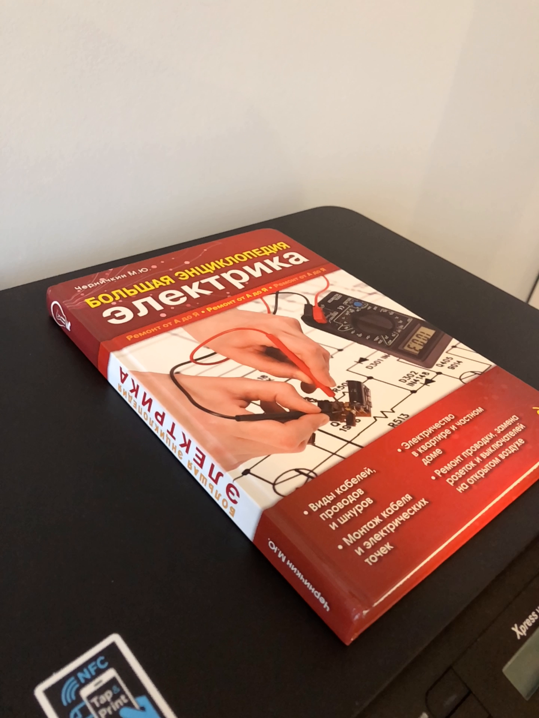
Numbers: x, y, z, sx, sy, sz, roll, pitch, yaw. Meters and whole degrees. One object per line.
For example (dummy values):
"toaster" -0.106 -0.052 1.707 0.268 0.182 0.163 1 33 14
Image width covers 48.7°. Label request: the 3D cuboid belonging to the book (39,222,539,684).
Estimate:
"book" 0.013 0.010 0.319 0.171 0.040 0.241 -23 48 -35
